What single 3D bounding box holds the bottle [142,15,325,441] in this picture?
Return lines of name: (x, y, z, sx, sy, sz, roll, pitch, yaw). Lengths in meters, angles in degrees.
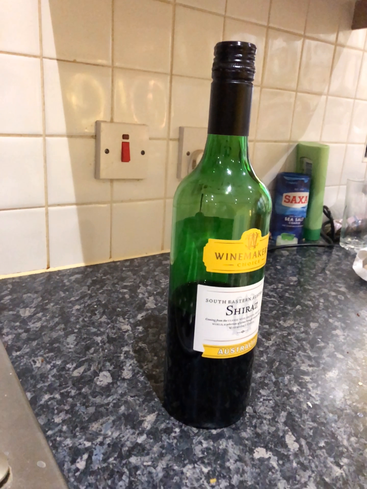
bottle: (0.027, -0.006, 0.310, 0.080, 0.279, 0.080, 3, 17, -1)
